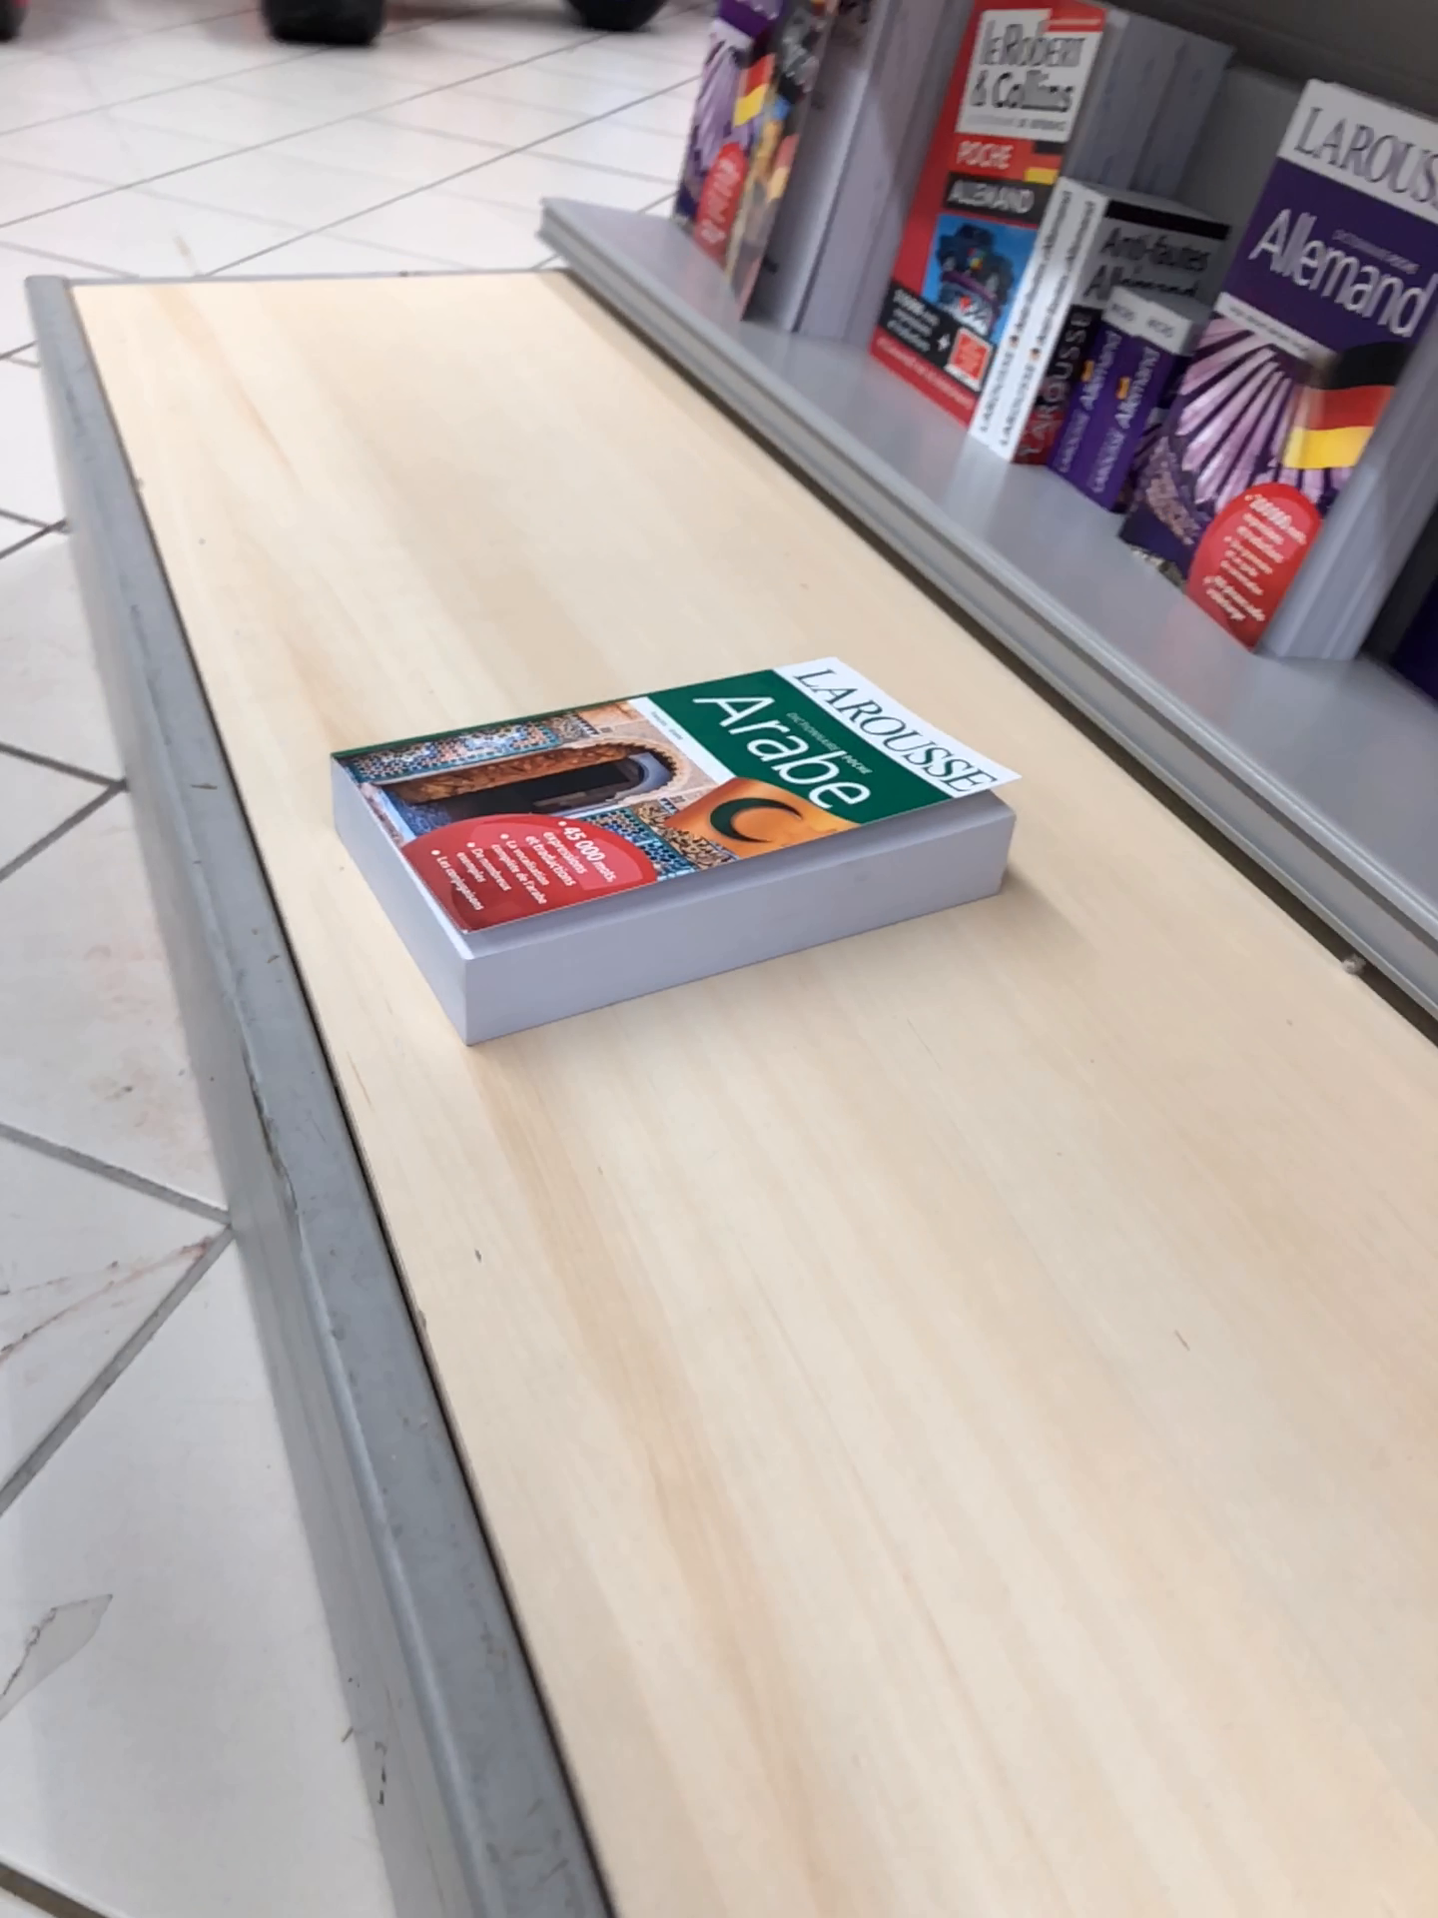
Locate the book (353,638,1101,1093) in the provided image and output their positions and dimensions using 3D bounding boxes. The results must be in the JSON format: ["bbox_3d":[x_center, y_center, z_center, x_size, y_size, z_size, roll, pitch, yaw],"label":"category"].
[{"bbox_3d":[0.000,-0.036,0.461,0.183,0.045,0.111,-13,43,-24],"label":"book"}]
